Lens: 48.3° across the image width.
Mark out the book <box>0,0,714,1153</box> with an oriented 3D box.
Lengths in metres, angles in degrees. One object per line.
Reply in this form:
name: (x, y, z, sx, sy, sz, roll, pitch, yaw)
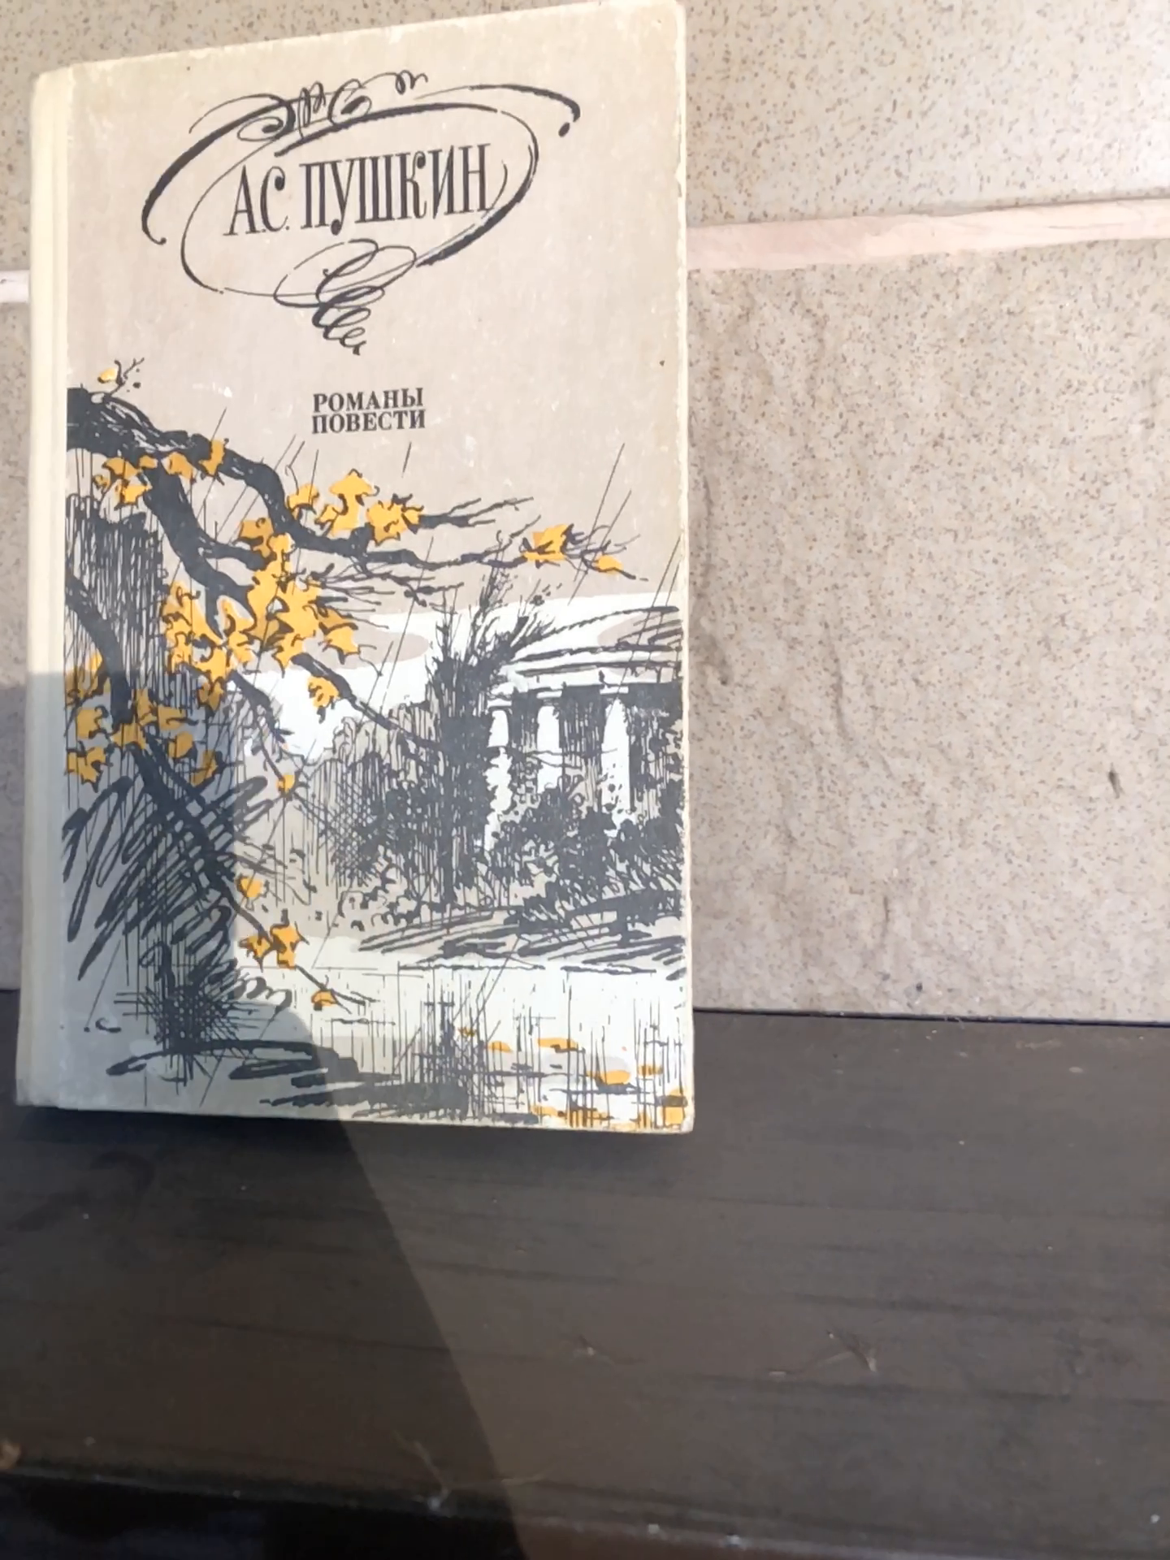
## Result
book: (-0.040, -0.037, 0.247, 0.125, 0.198, 0.040, 0, -1, 10)
